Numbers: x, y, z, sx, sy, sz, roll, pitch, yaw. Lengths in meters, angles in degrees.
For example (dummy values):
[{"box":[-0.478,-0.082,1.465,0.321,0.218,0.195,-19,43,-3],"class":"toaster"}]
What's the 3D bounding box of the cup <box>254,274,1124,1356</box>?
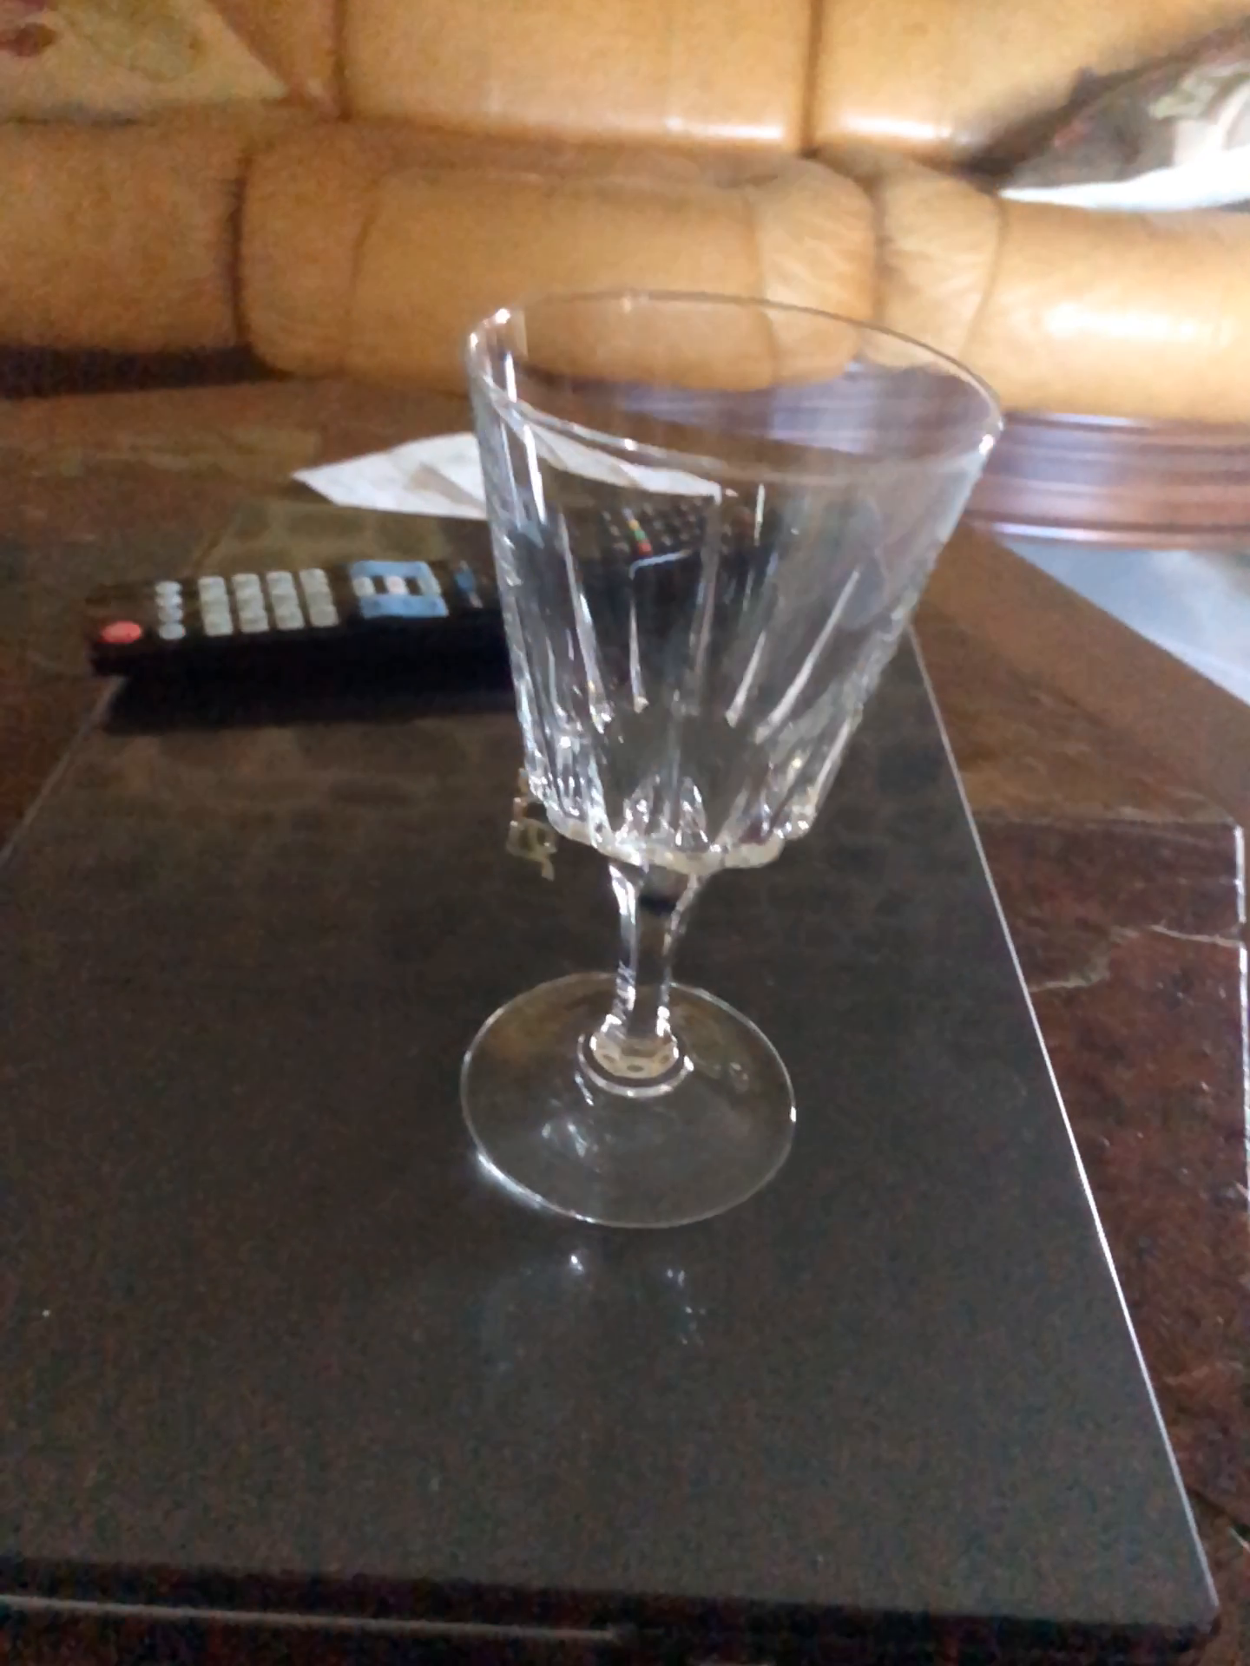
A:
[{"box":[0.004,-0.008,0.269,0.101,0.159,0.100,3,35,-2],"class":"cup"}]
